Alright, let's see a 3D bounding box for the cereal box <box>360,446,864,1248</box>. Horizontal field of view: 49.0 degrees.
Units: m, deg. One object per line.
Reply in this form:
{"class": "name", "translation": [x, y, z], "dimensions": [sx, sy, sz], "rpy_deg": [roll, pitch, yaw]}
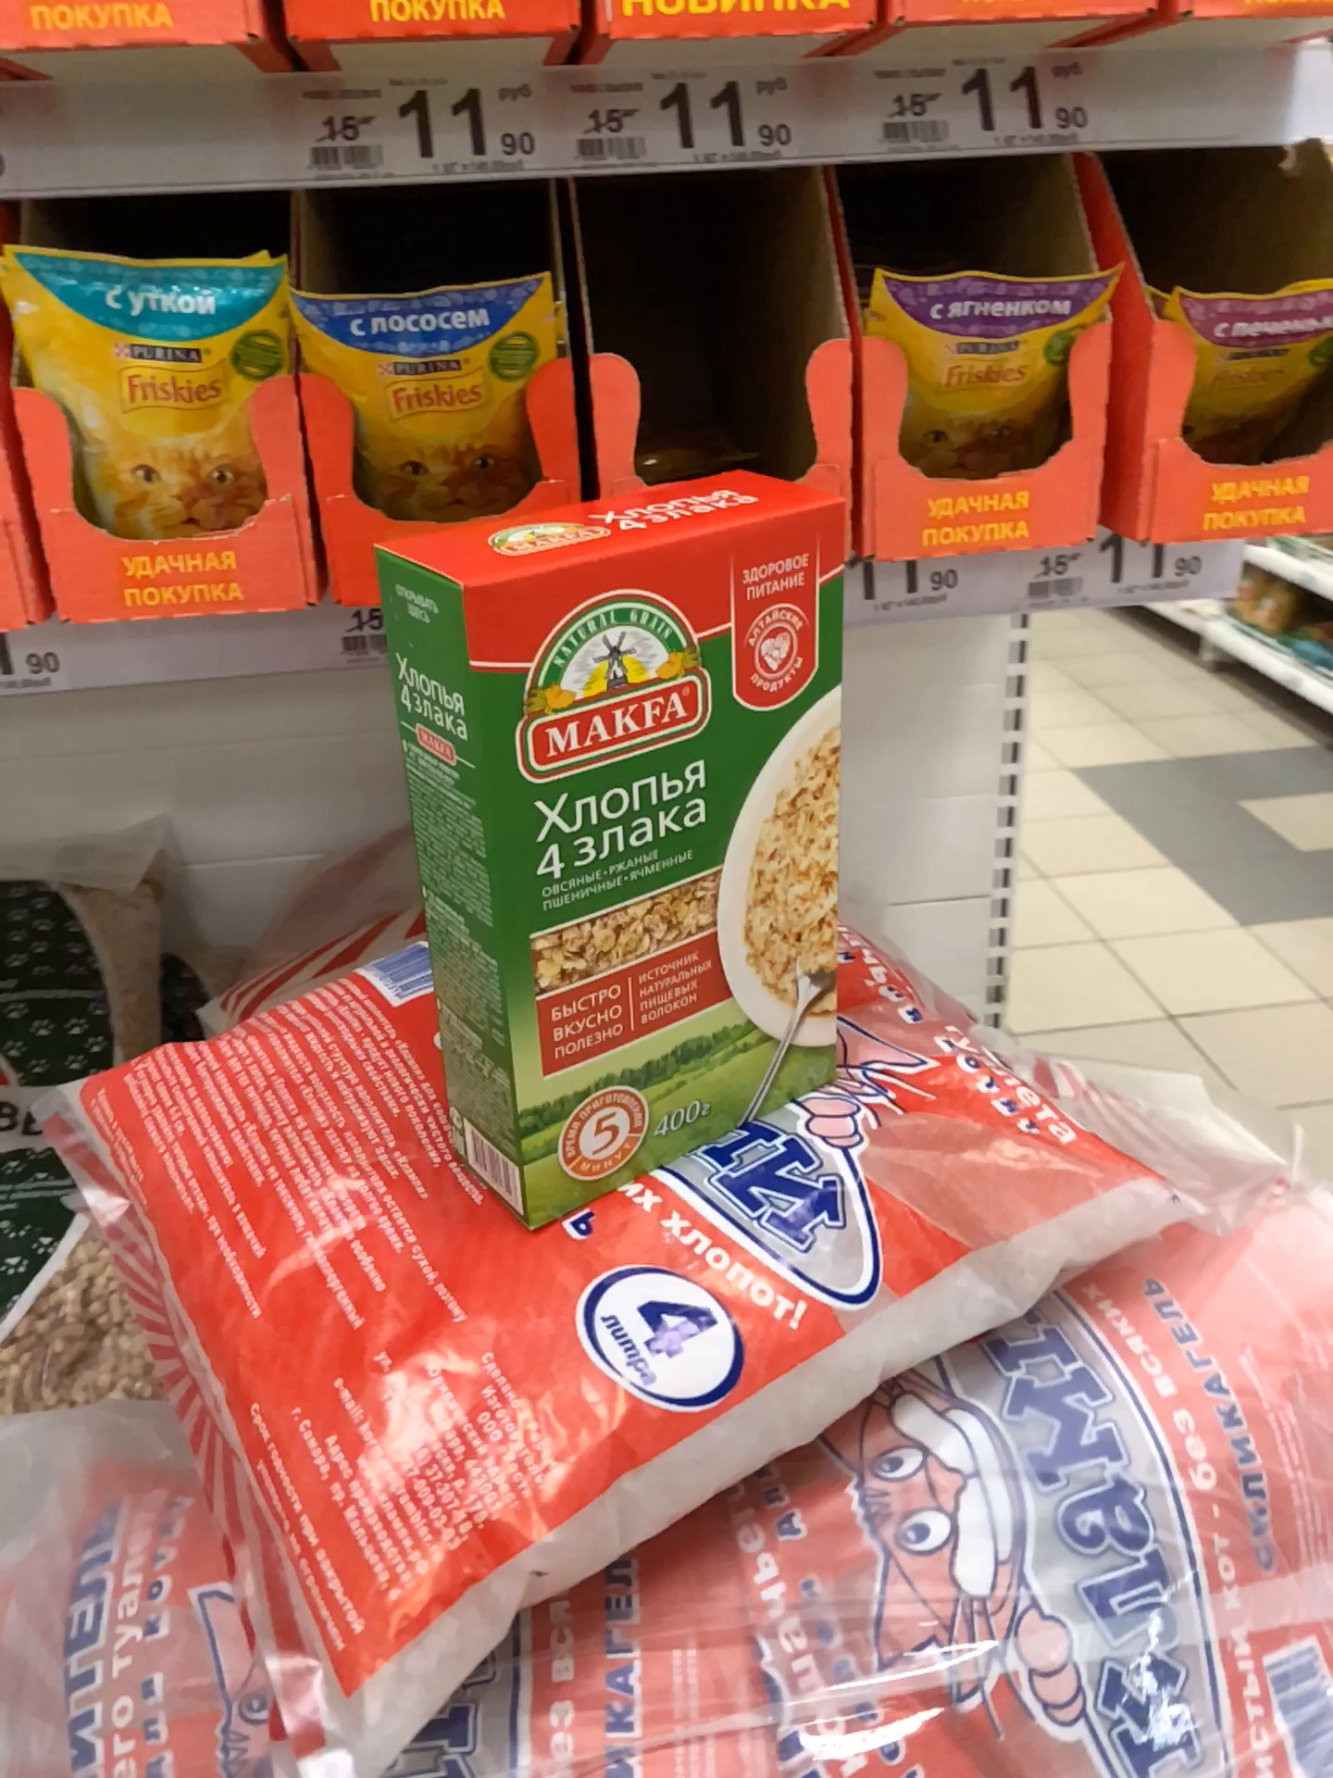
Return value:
{"class": "cereal box", "translation": [-0.011, -0.015, 0.462], "dimensions": [0.140, 0.219, 0.050], "rpy_deg": [-20, 32, -33]}
